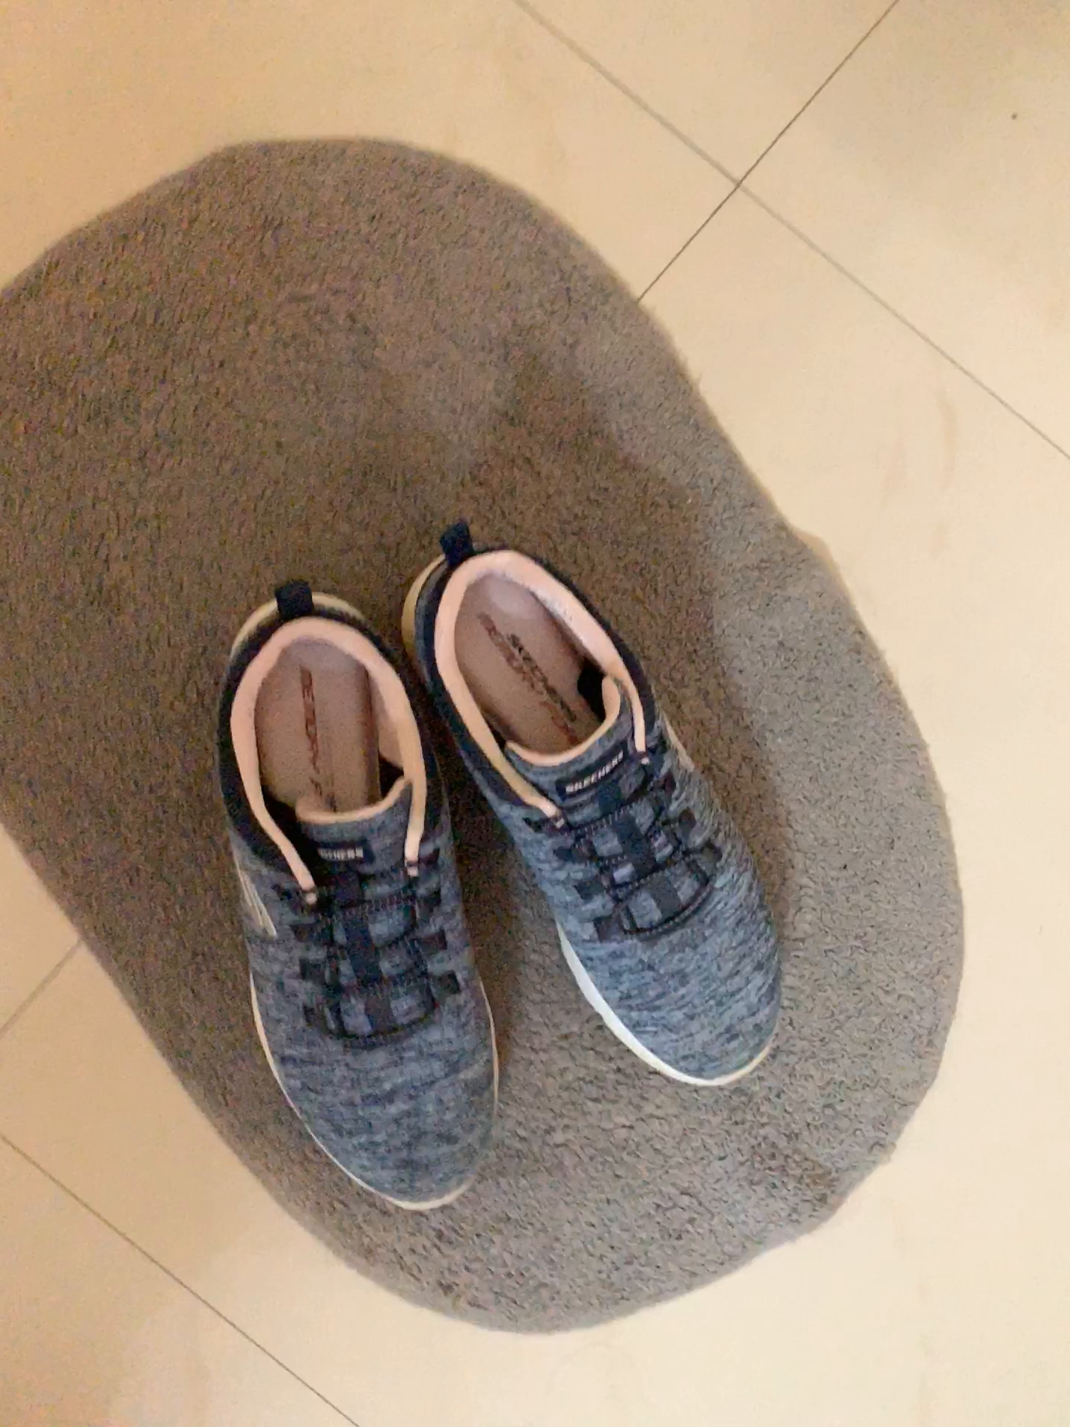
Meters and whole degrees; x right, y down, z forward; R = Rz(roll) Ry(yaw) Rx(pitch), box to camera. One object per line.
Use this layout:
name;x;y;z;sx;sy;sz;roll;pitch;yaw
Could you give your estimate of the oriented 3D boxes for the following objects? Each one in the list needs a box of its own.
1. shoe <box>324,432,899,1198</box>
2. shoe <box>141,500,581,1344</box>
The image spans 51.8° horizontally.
shoe;0.026;0.040;0.486;0.100;0.100;0.290;-29;87;-6
shoe;-0.067;0.070;0.426;0.090;0.100;0.270;-13;84;-9
